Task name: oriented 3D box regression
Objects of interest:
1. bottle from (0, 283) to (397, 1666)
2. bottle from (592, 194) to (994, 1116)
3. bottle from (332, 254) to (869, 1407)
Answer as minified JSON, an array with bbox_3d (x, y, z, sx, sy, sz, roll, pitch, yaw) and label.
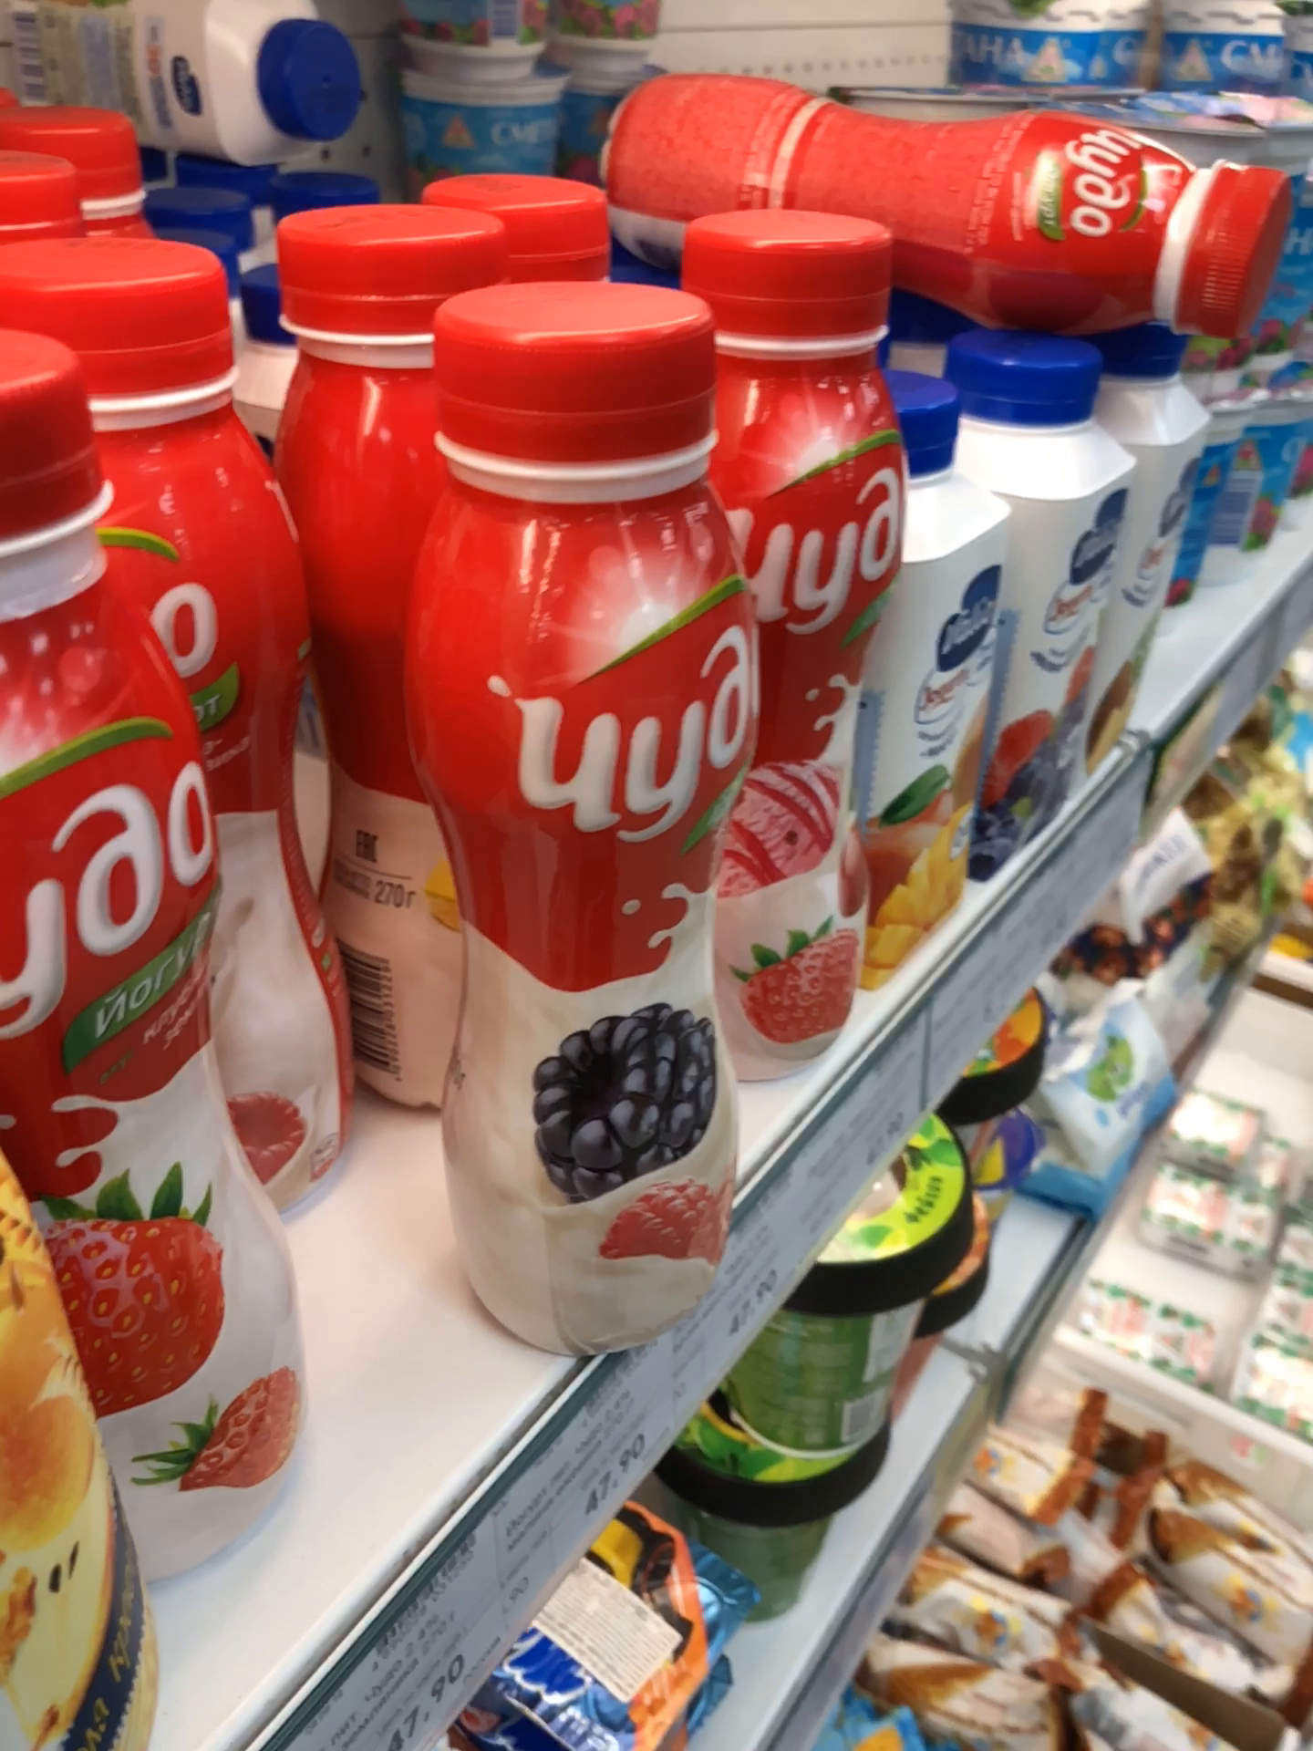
[{"bbox_3d":[-0.078,0.022,0.202,0.050,0.181,0.054,2,32,-1],"label":"bottle"},{"bbox_3d":[0.024,-0.042,0.314,0.050,0.181,0.054,2,32,-1],"label":"bottle"},{"bbox_3d":[-0.010,-0.001,0.247,0.050,0.181,0.054,2,32,-1],"label":"bottle"}]
